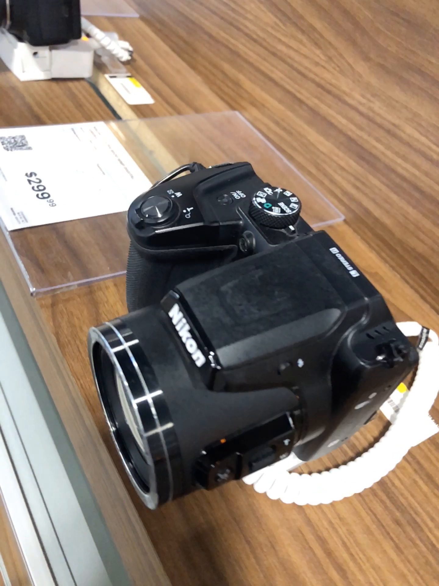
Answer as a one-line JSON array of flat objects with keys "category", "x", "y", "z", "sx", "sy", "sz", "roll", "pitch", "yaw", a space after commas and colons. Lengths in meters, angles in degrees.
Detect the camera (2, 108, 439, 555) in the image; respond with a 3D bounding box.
[{"category": "camera", "x": -0.008, "y": -0.001, "z": 0.184, "sx": 0.100, "sy": 0.070, "sz": 0.131, "roll": -16, "pitch": 55, "yaw": -32}]
